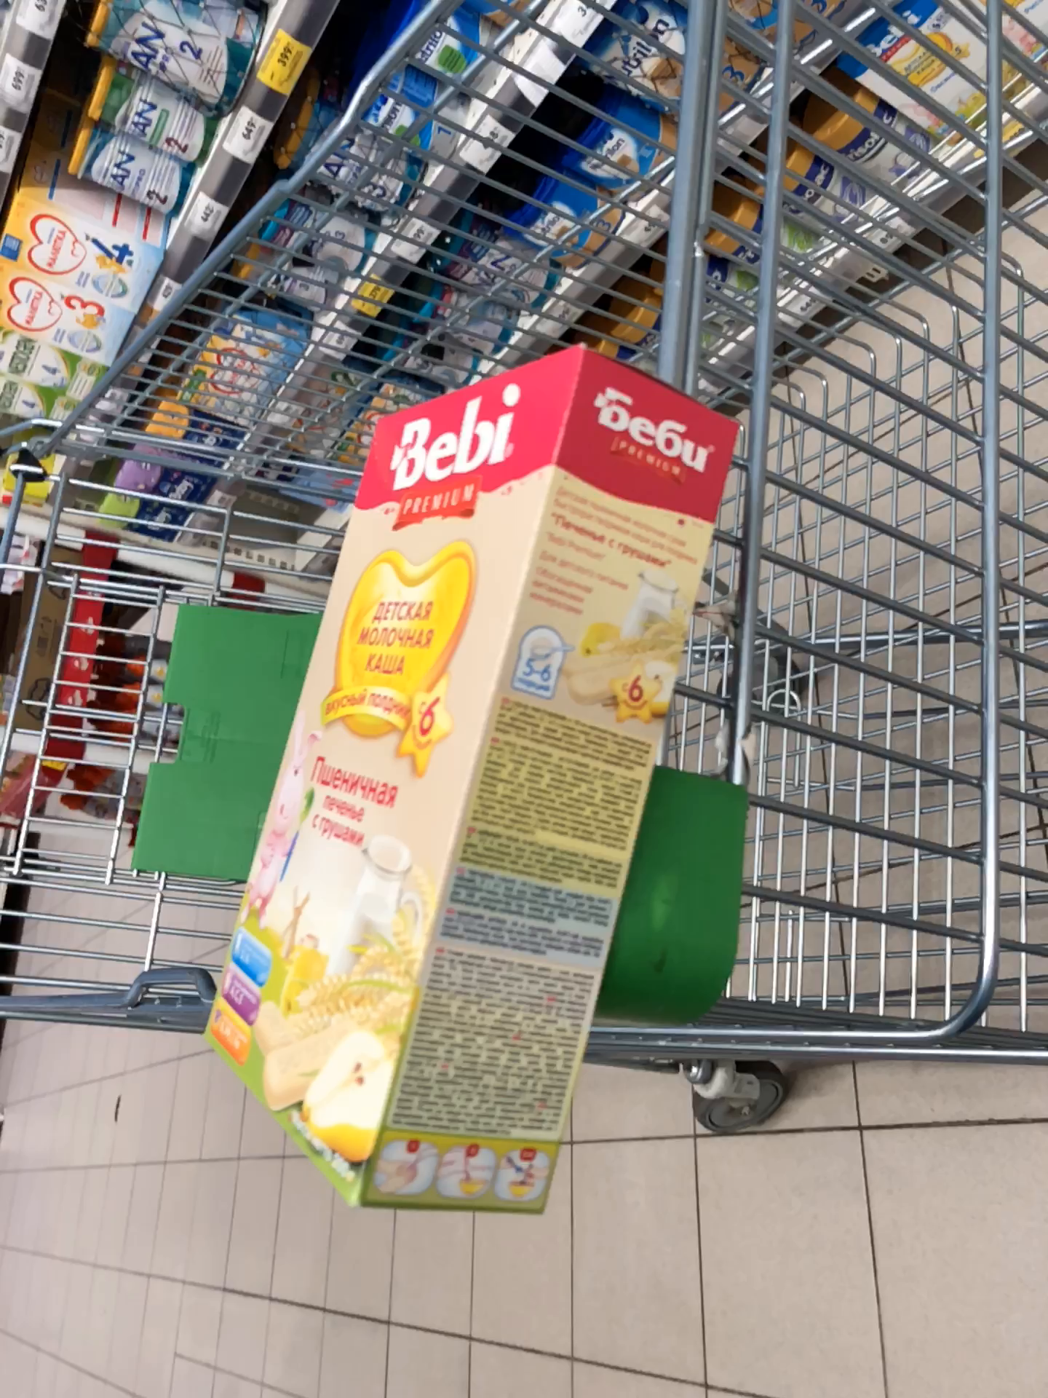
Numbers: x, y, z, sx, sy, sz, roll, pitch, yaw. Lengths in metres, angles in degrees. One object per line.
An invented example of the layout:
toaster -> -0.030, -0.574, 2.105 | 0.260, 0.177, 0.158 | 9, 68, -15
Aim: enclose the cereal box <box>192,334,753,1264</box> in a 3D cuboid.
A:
cereal box -> -0.023, 0.021, 0.323 | 0.131, 0.050, 0.210 | 6, 80, 60
